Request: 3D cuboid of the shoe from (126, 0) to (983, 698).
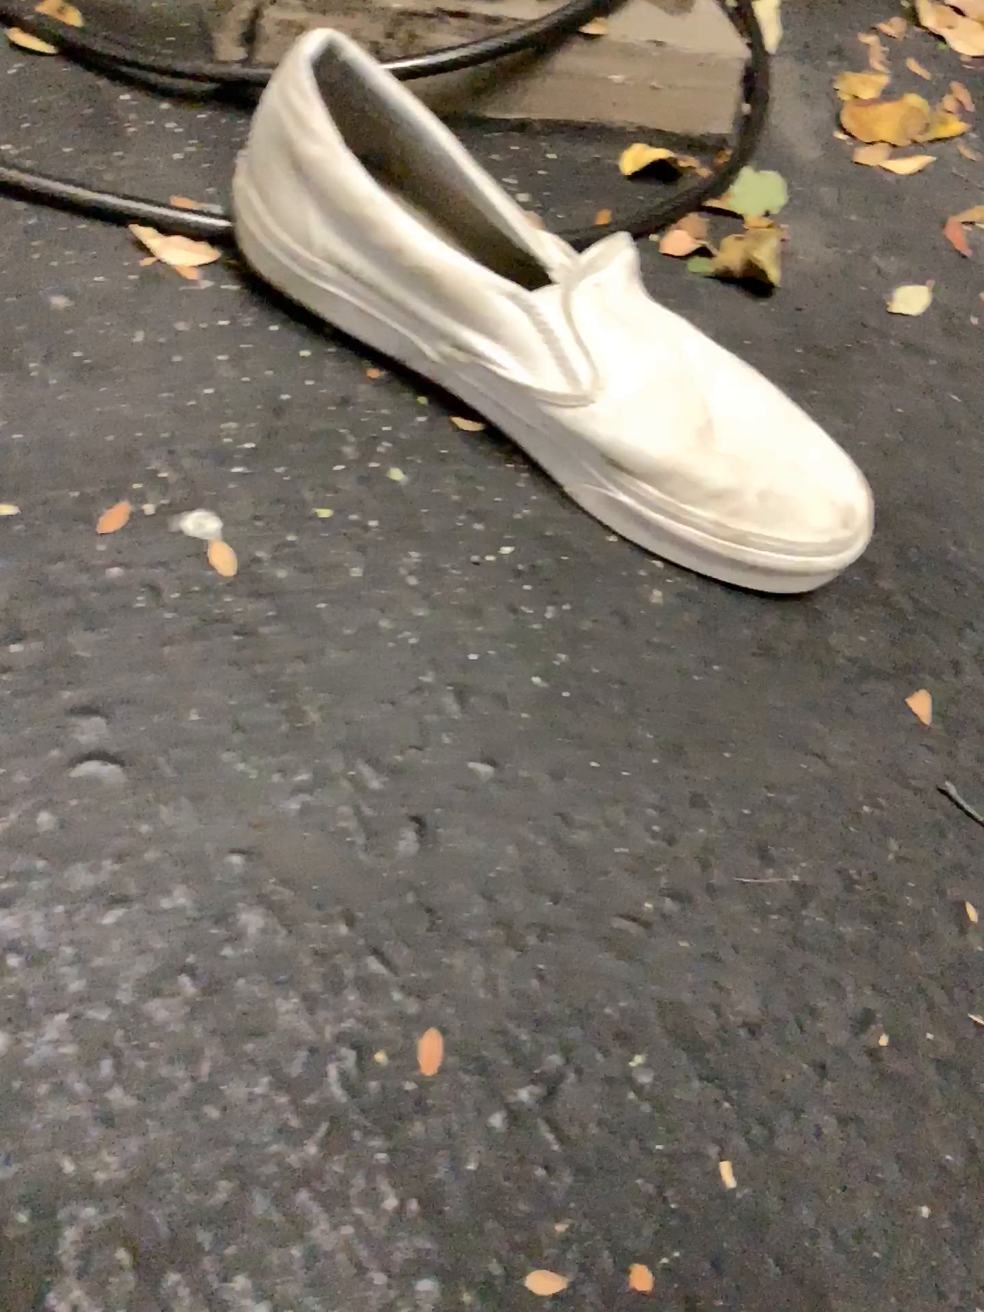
[{"bbox_3d":[0.032,-0.135,0.417,0.310,0.100,0.120,34,52,0],"label":"shoe"}]
